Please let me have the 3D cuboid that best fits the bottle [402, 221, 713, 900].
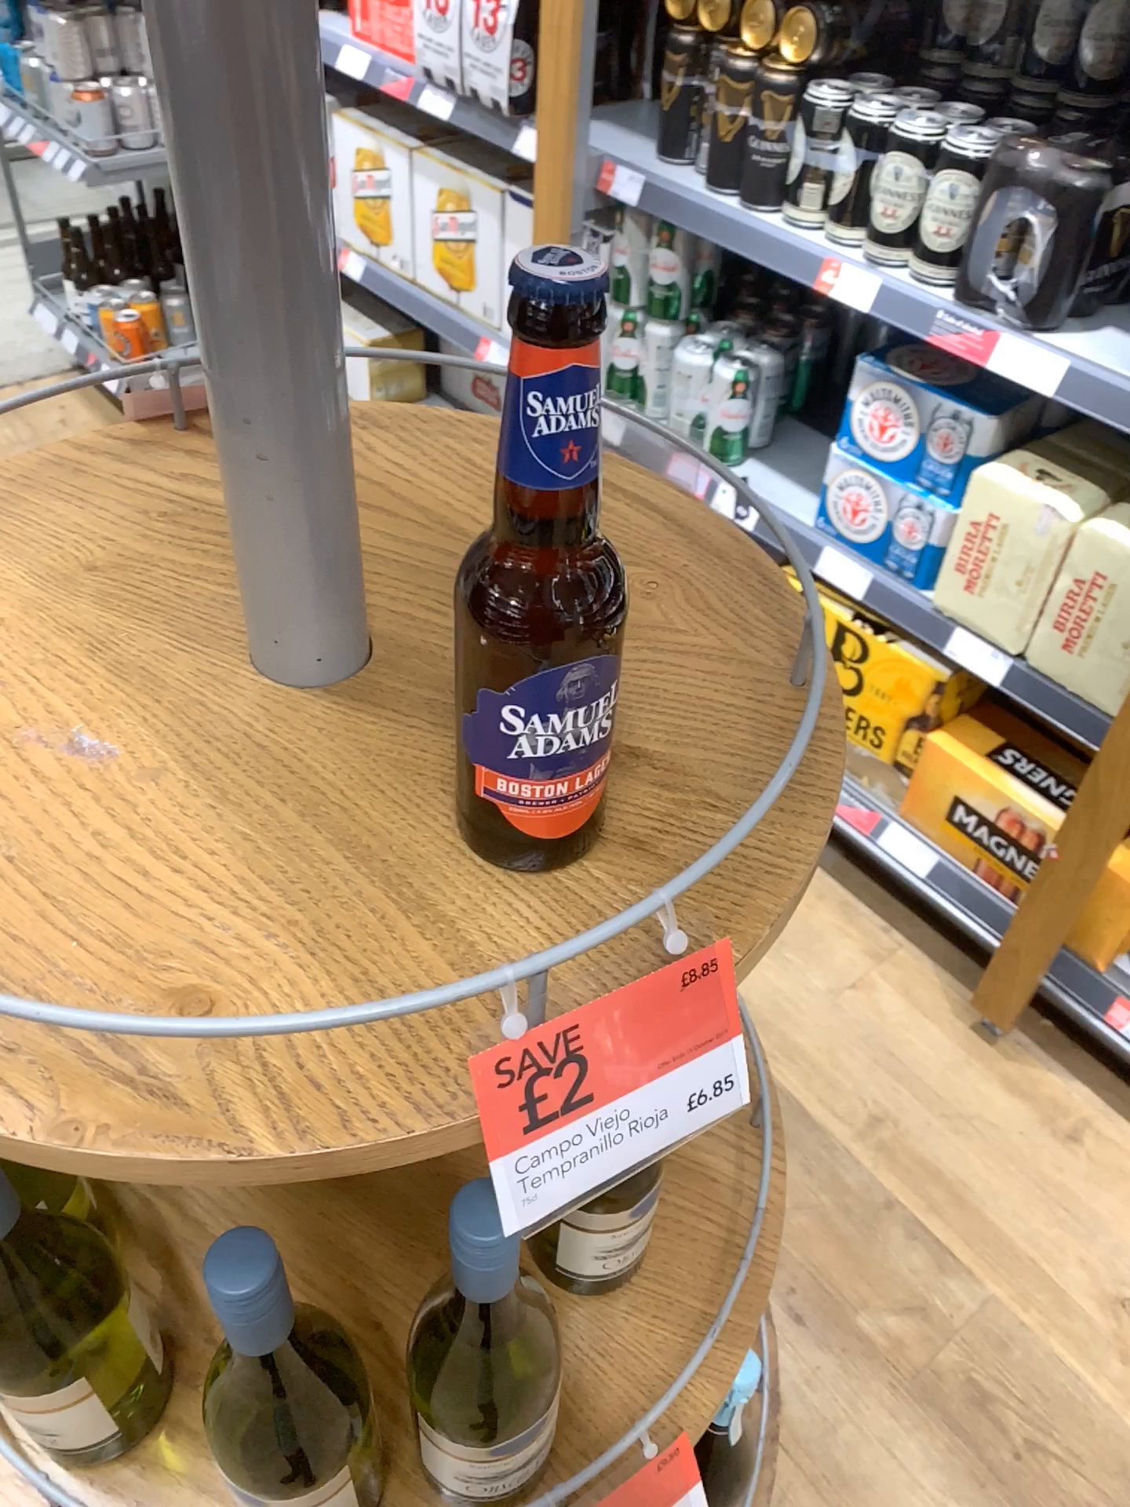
[{"bbox_3d":[-0.008,-0.052,0.381,0.063,0.211,0.061,2,43,-2],"label":"bottle"}]
